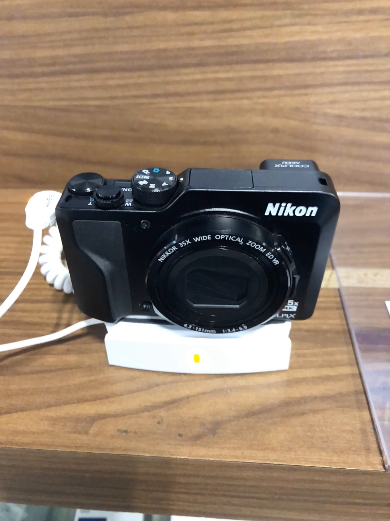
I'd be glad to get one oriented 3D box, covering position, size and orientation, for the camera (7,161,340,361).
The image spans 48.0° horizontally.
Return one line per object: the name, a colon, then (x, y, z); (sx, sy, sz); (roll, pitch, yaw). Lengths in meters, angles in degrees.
camera: (-0.007, -0.001, 0.197); (0.120, 0.070, 0.050); (2, 37, 4)
